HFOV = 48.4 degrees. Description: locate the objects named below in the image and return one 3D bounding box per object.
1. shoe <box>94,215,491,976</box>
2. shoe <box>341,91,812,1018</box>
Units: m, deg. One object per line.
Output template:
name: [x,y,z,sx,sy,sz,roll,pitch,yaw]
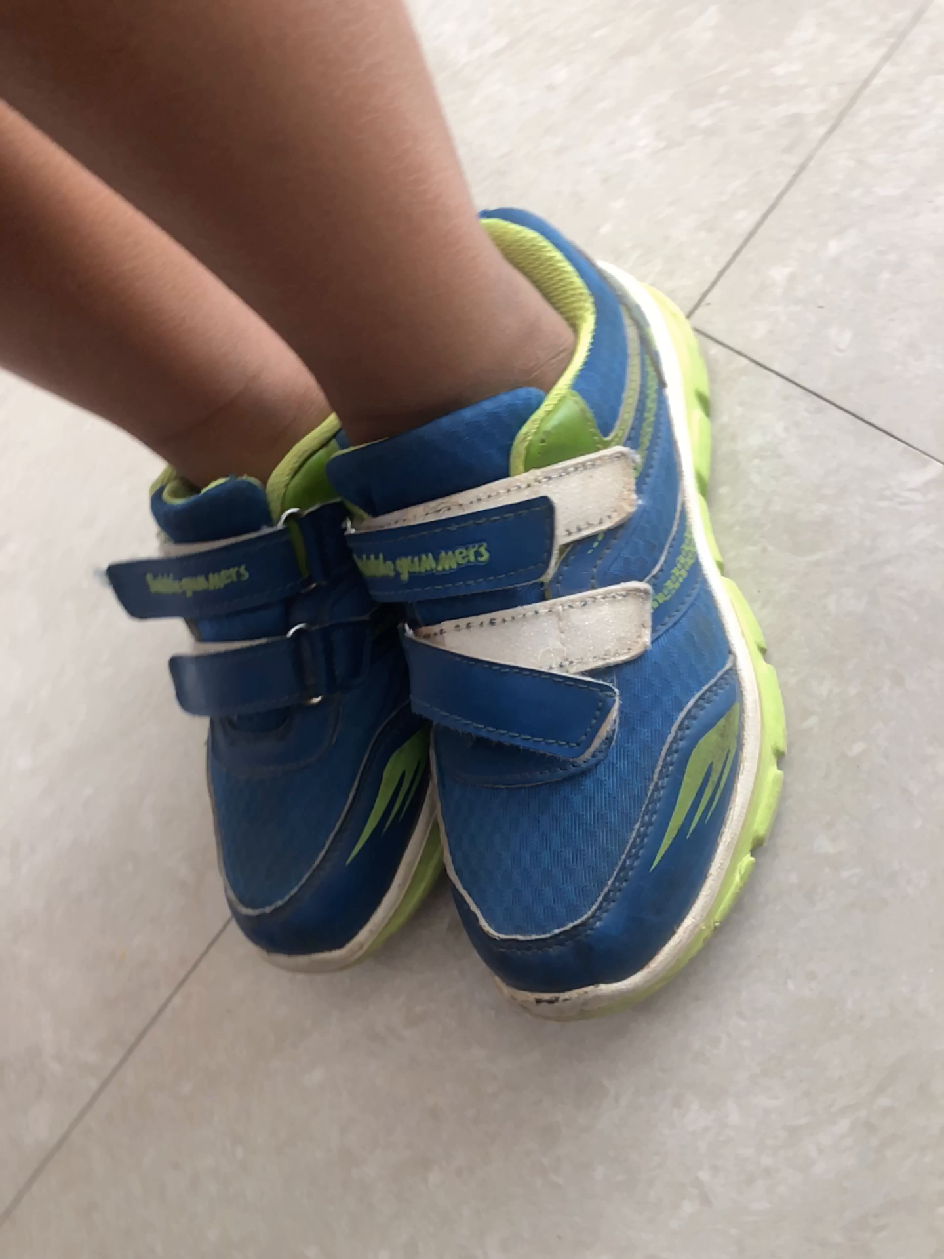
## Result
shoe: [-0.050,-0.008,0.333,0.090,0.060,0.220,-10,68,30]
shoe: [0.025,-0.017,0.276,0.090,0.060,0.220,-11,68,29]
